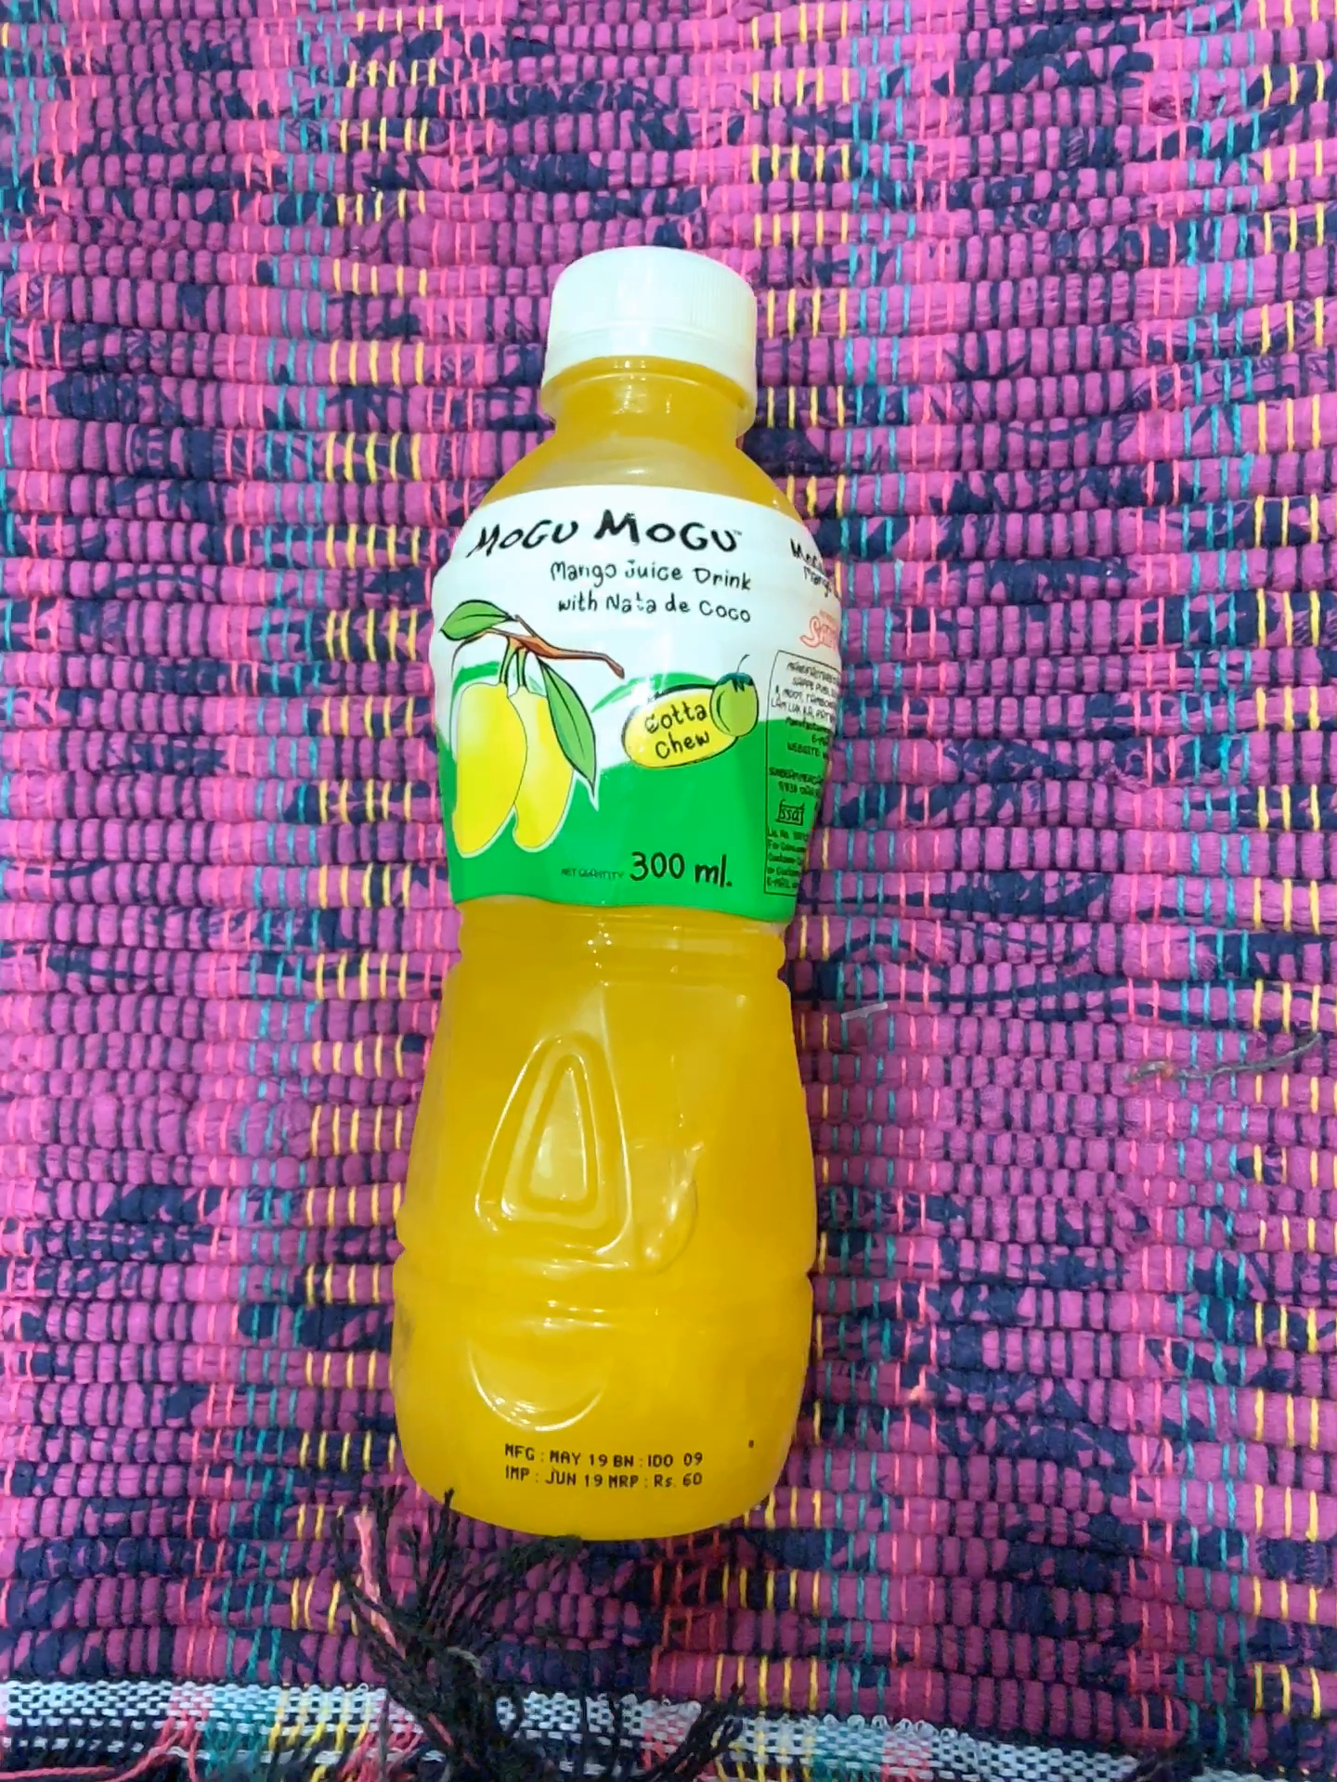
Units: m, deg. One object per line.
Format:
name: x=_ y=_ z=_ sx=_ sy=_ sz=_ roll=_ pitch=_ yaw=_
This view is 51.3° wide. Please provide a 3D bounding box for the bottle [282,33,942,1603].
bottle: x=-0.003 y=-0.009 z=0.173 sx=0.060 sy=0.060 sz=0.160 roll=2 pitch=86 yaw=2
